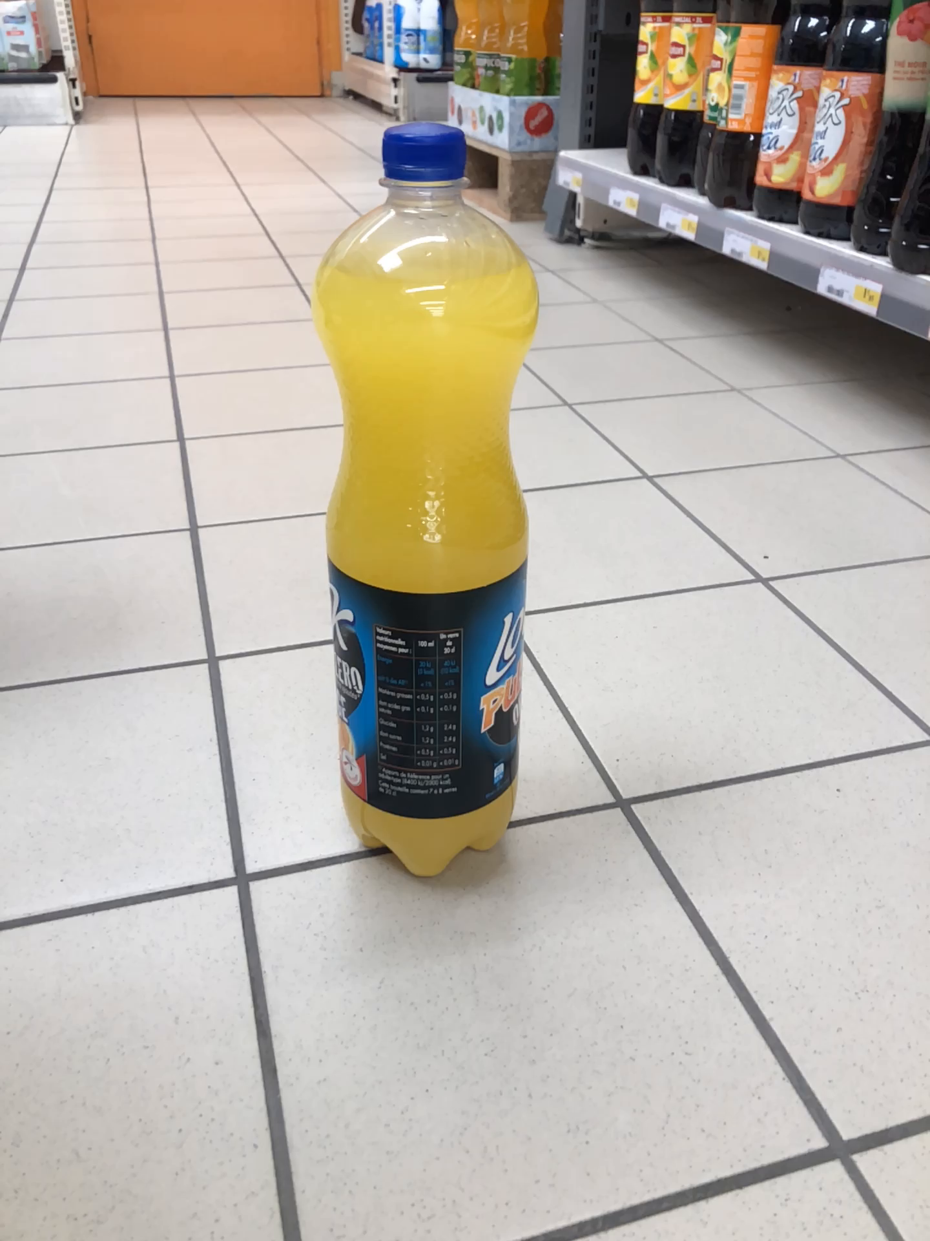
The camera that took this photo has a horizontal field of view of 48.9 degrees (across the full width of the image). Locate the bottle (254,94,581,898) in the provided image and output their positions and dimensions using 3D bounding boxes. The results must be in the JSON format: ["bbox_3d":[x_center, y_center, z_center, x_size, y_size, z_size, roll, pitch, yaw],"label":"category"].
[{"bbox_3d":[-0.013,-0.040,0.433,0.100,0.318,0.101,1,30,0],"label":"bottle"}]
